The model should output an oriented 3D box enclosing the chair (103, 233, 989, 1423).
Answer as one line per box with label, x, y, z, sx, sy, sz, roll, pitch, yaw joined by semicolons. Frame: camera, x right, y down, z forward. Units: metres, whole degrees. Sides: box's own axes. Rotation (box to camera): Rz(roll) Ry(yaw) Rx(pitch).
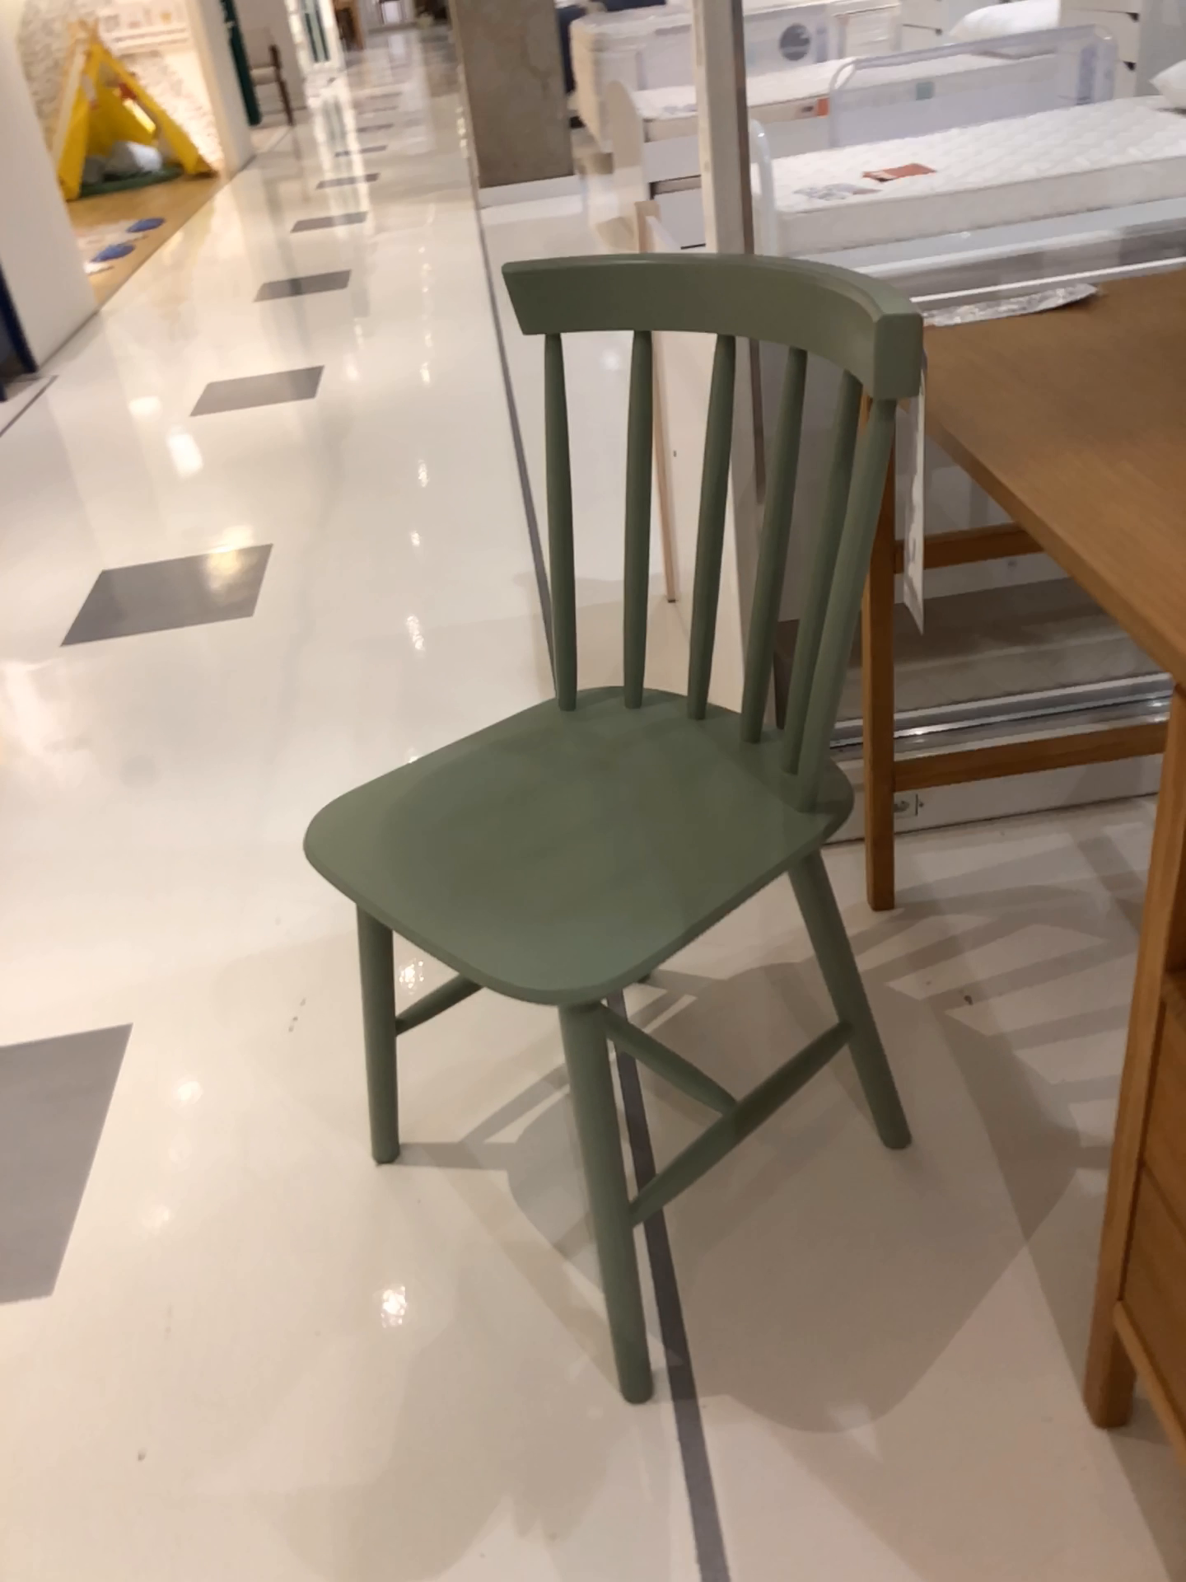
chair;0.008;0.009;1.150;0.462;0.833;0.452;-31;38;-31
